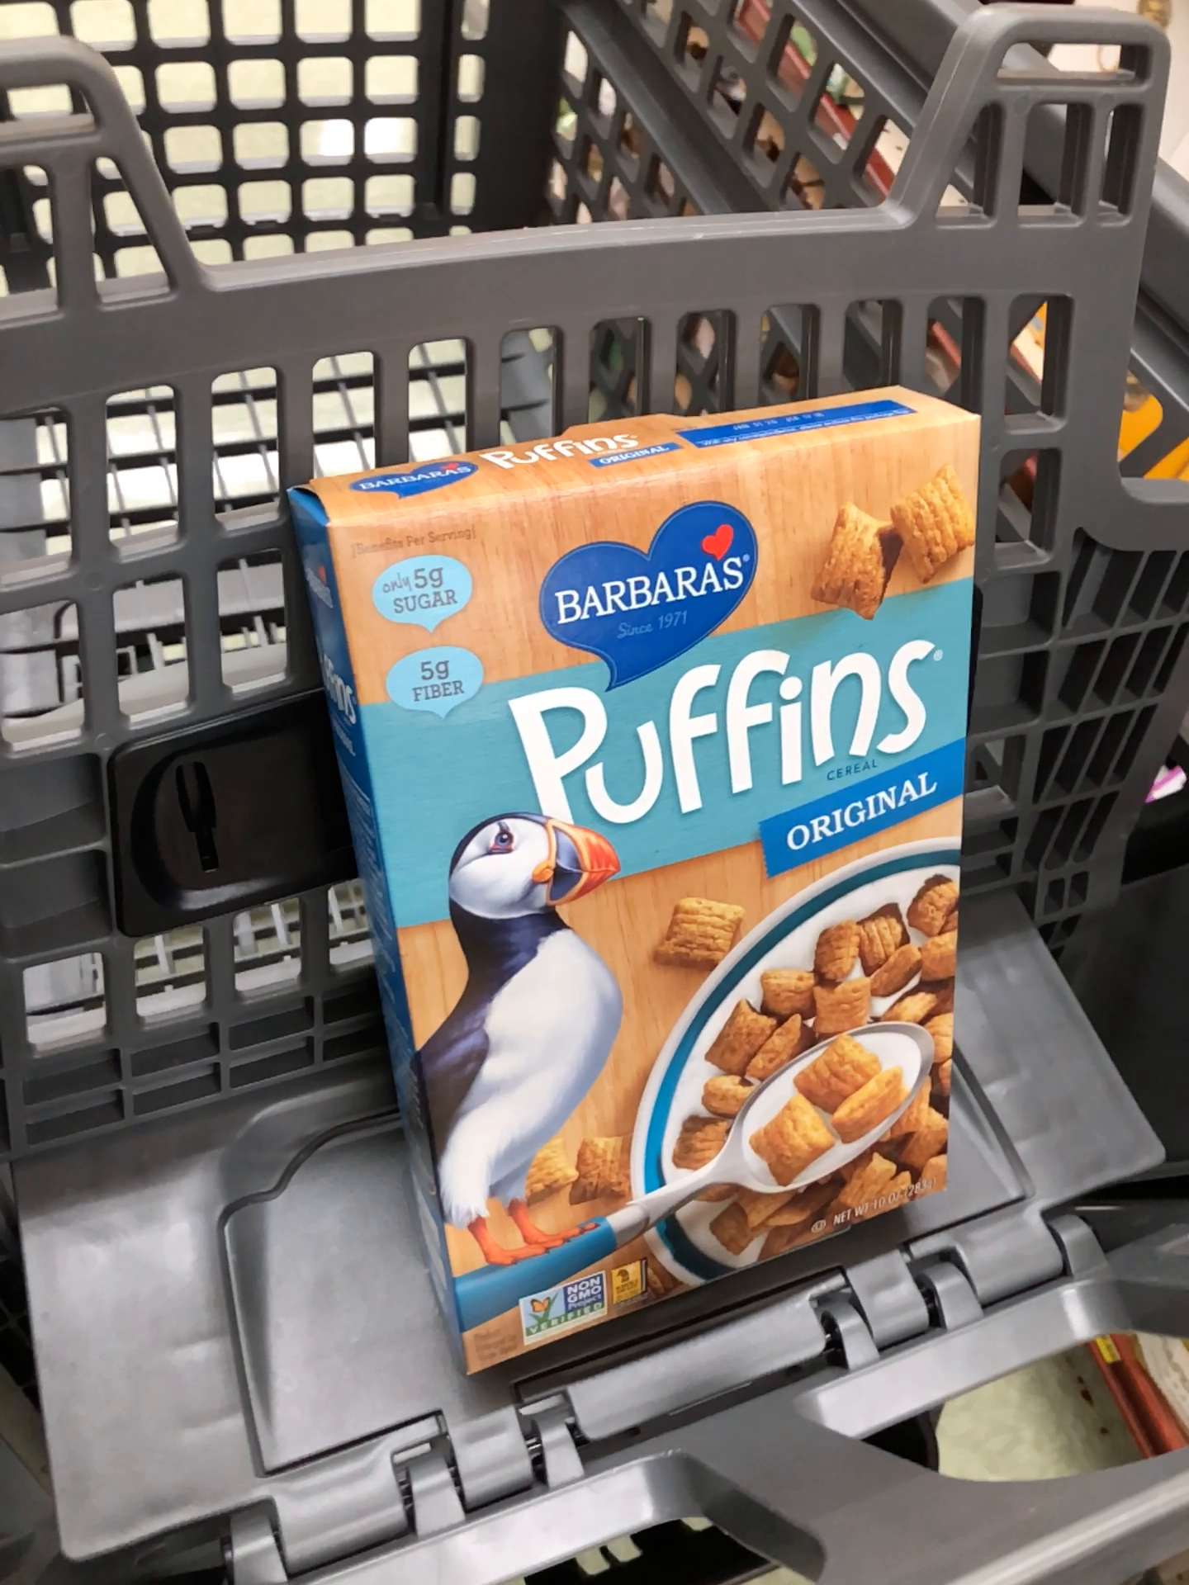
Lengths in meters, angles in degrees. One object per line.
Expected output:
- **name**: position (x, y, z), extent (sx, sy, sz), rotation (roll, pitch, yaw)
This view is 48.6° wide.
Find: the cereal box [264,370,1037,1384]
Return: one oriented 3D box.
- **cereal box**: position (0.027, 0.026, 0.384), extent (0.190, 0.260, 0.050), rotation (-14, 27, -18)
